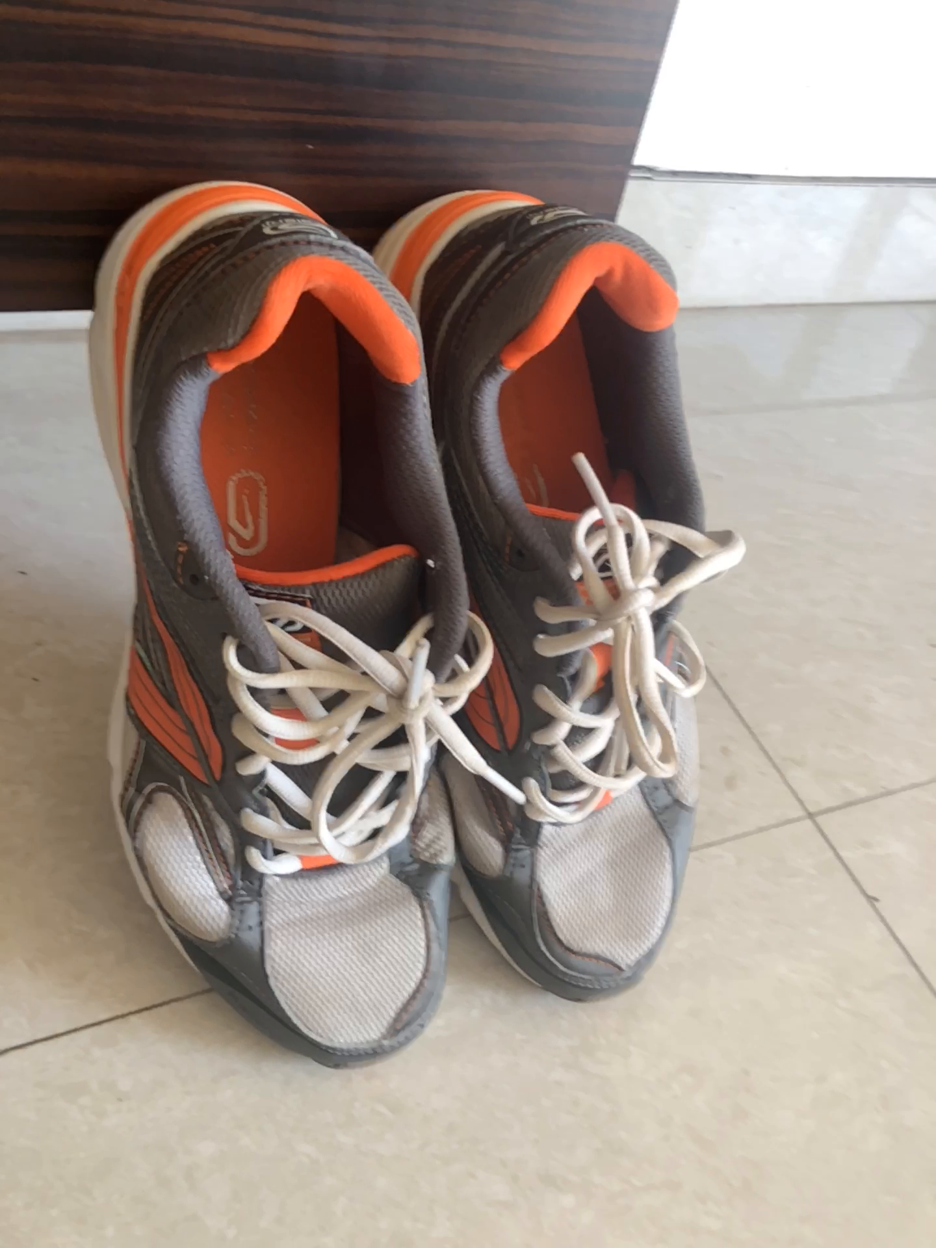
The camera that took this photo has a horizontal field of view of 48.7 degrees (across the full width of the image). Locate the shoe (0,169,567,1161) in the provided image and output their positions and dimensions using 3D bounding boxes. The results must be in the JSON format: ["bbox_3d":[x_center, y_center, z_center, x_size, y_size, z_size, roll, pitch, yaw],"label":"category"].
[{"bbox_3d":[-0.051,0.006,0.322,0.120,0.269,0.100,-15,28,-29],"label":"shoe"}]

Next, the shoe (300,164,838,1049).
[{"bbox_3d":[0.030,-0.012,0.356,0.120,0.259,0.110,-13,24,-22],"label":"shoe"}]
